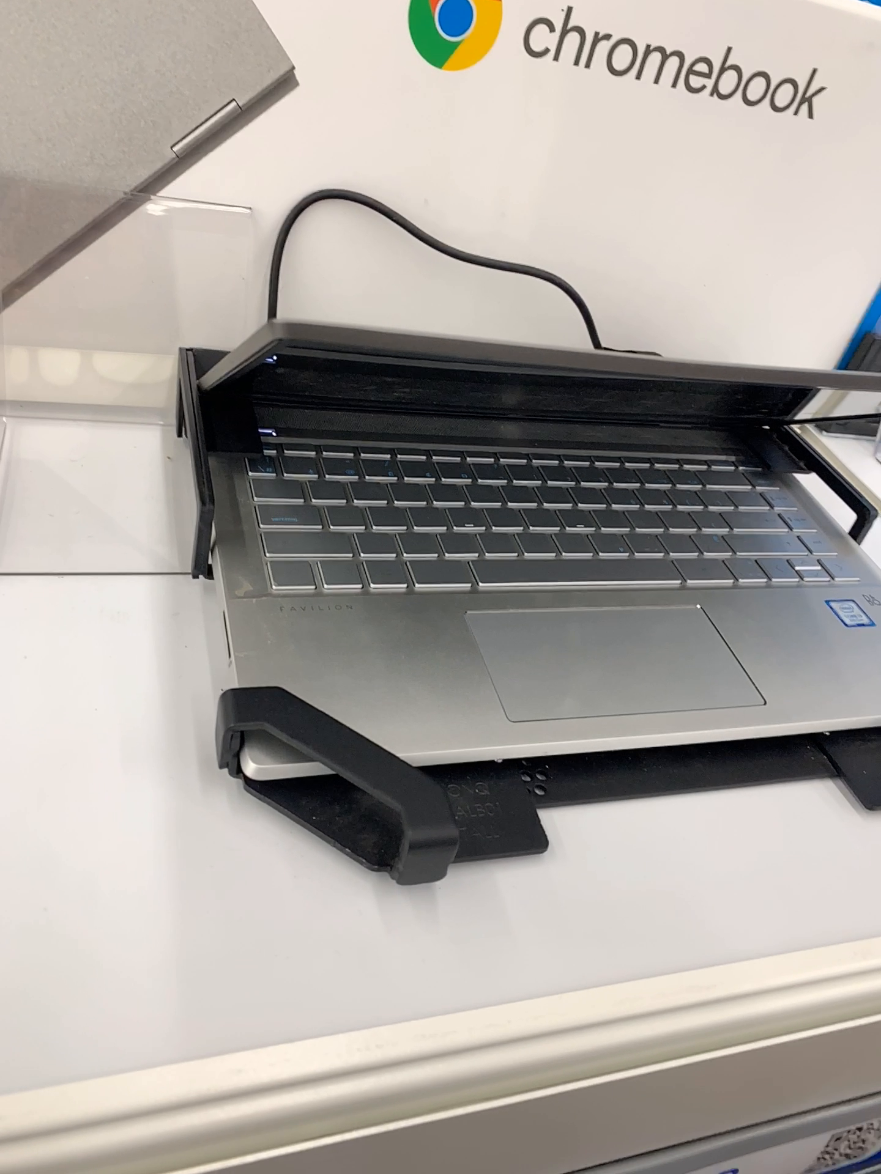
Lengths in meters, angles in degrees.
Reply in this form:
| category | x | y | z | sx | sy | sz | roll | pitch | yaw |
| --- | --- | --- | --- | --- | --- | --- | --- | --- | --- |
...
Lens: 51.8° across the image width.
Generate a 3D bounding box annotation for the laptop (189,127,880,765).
| category | x | y | z | sx | sy | sz | roll | pitch | yaw |
| --- | --- | --- | --- | --- | --- | --- | --- | --- | --- |
| laptop | 0.067 | -0.059 | 0.335 | 0.283 | 0.111 | 0.194 | -1 | 42 | -19 |
